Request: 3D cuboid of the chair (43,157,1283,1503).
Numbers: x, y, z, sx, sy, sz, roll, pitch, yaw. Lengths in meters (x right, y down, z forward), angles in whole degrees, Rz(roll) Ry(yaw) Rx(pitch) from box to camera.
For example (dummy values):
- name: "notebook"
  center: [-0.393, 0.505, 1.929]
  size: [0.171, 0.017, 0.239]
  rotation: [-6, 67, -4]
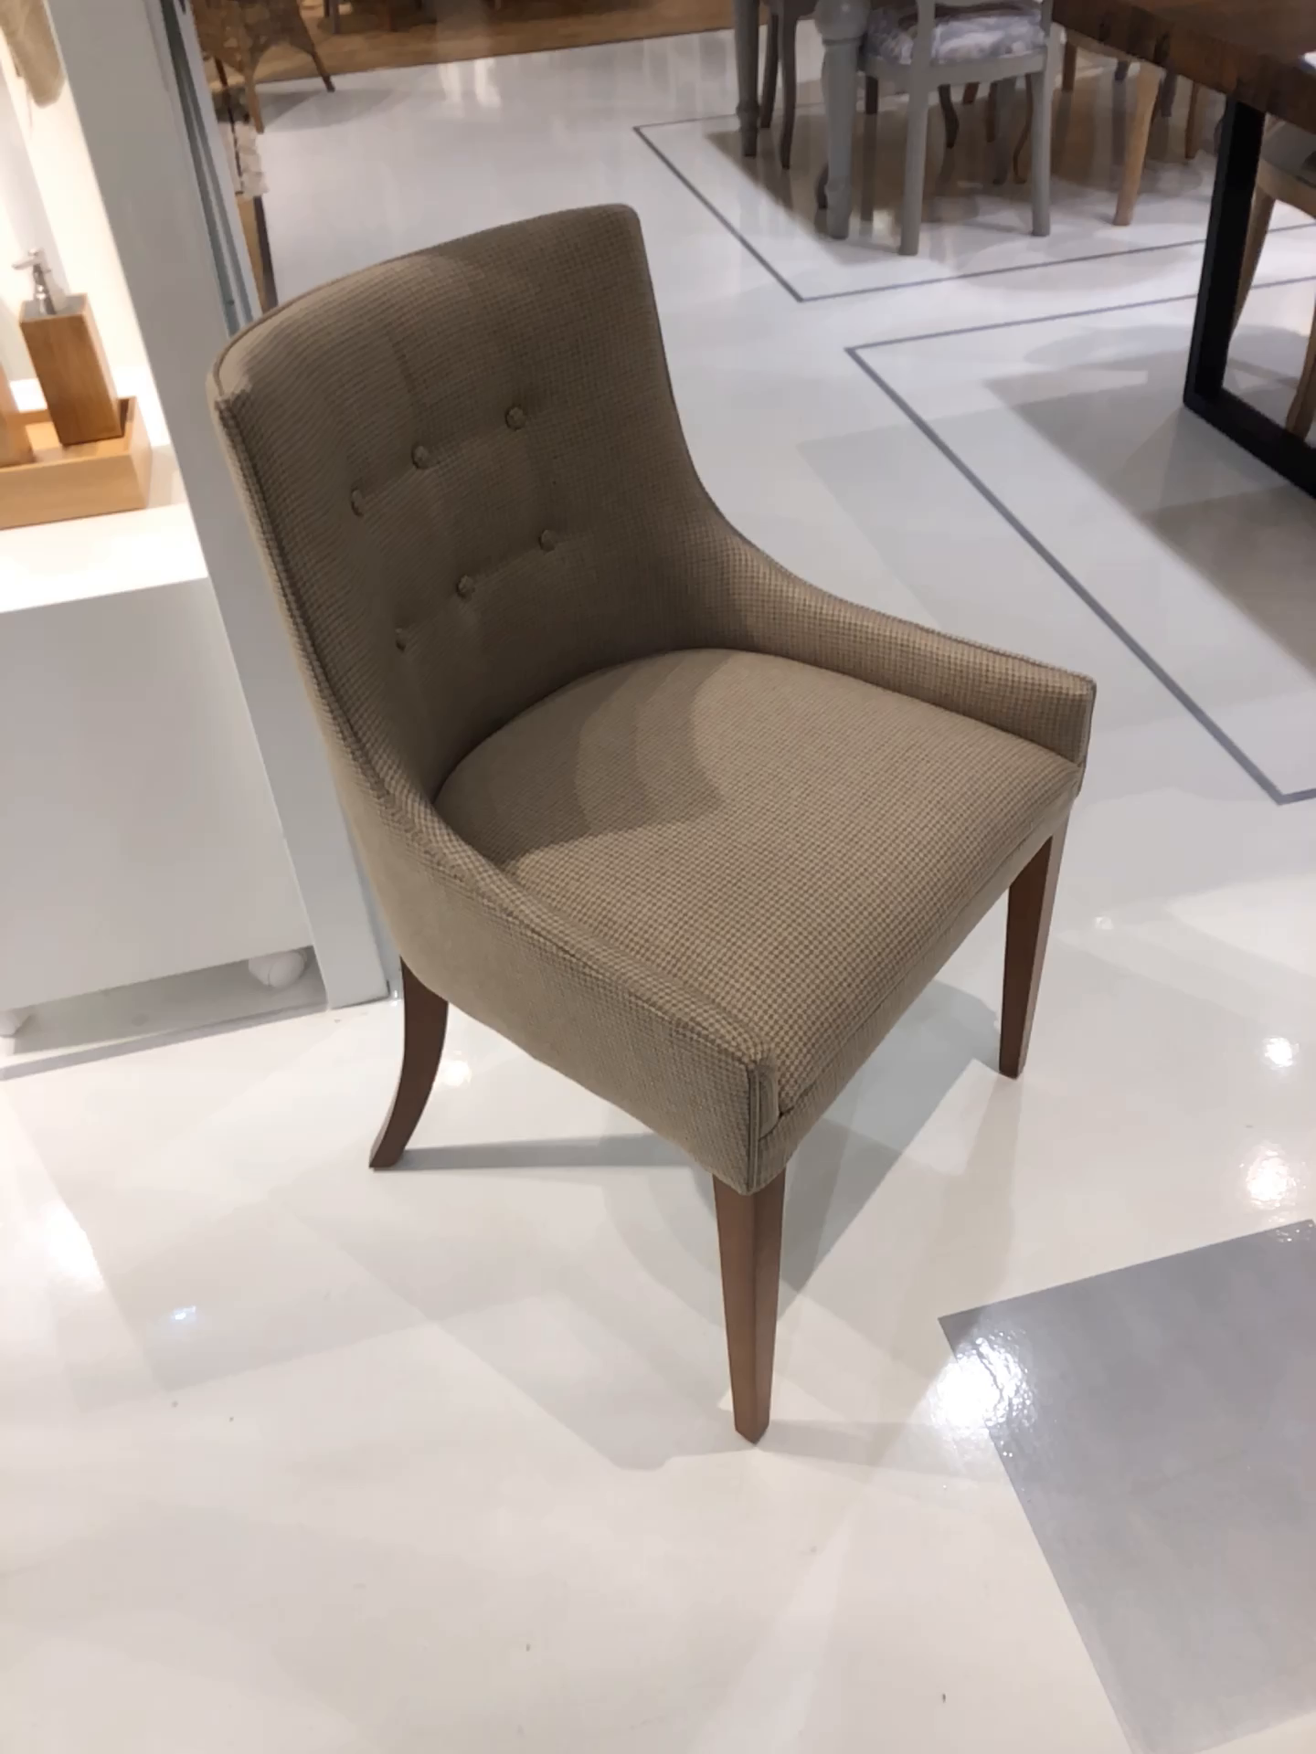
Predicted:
- name: "chair"
  center: [0.034, -0.068, 1.224]
  size: [0.592, 0.794, 0.593]
  rotation: [26, 49, 30]
